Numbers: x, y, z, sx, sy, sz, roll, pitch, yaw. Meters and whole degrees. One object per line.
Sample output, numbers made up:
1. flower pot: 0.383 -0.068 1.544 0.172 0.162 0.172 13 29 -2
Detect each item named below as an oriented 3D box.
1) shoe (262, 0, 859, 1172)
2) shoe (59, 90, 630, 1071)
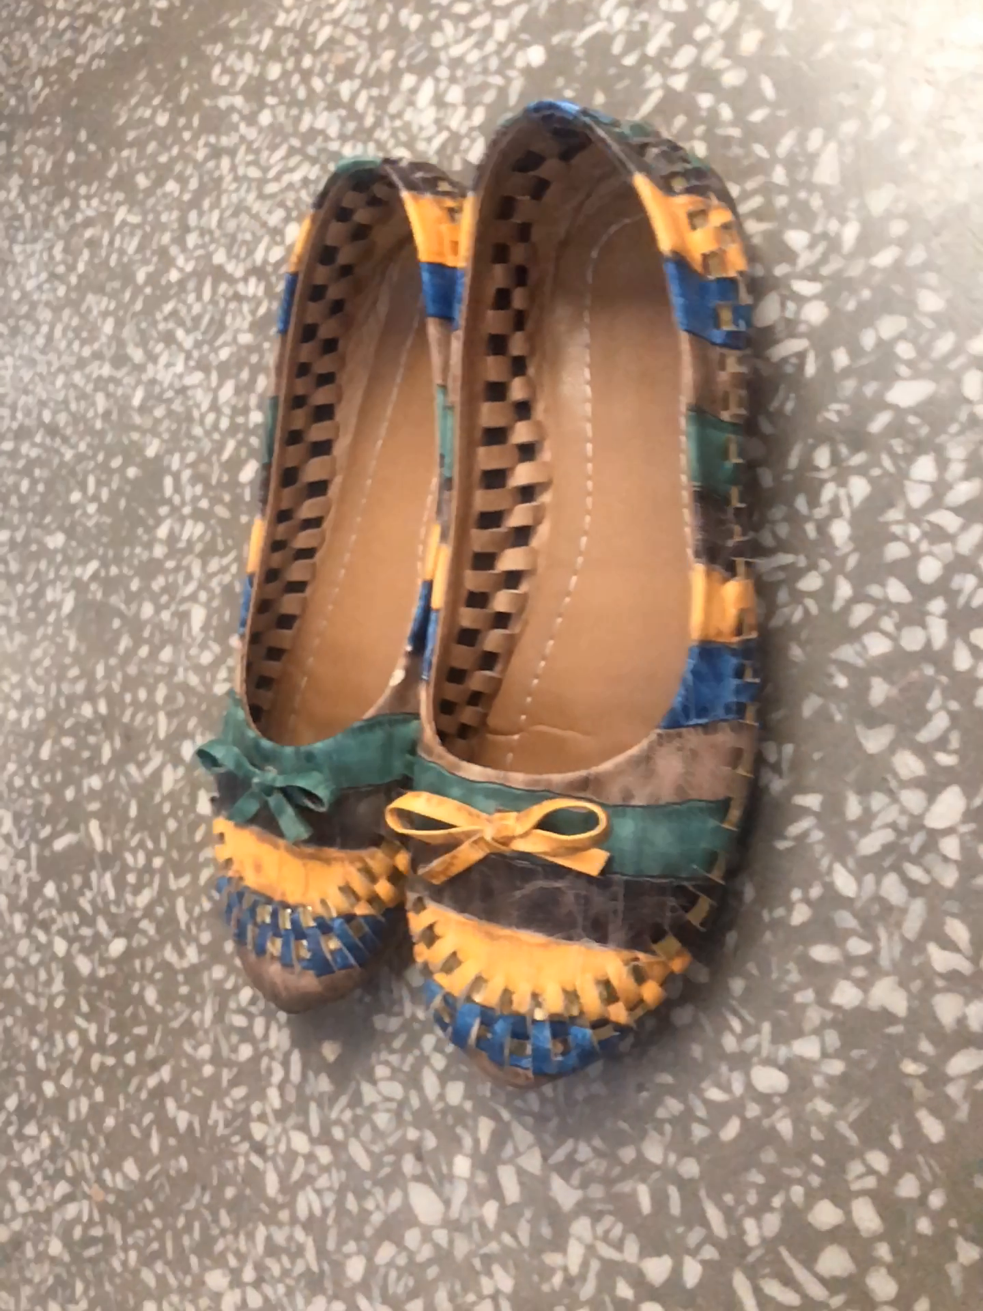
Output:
1. shoe: 0.020 -0.018 0.271 0.090 0.074 0.237 4 84 37
2. shoe: -0.041 -0.020 0.316 0.090 0.074 0.237 10 87 37
